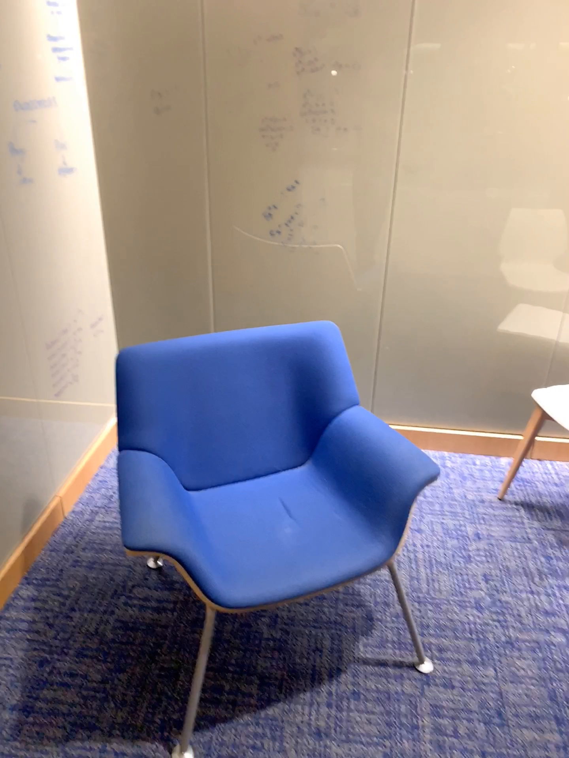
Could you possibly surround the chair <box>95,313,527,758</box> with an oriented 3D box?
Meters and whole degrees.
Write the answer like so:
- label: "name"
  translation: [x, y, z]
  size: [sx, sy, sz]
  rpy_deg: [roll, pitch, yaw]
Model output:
- label: "chair"
  translation: [-0.008, 0.333, 1.530]
  size: [0.789, 0.712, 0.743]
  rpy_deg: [-9, 28, -20]
